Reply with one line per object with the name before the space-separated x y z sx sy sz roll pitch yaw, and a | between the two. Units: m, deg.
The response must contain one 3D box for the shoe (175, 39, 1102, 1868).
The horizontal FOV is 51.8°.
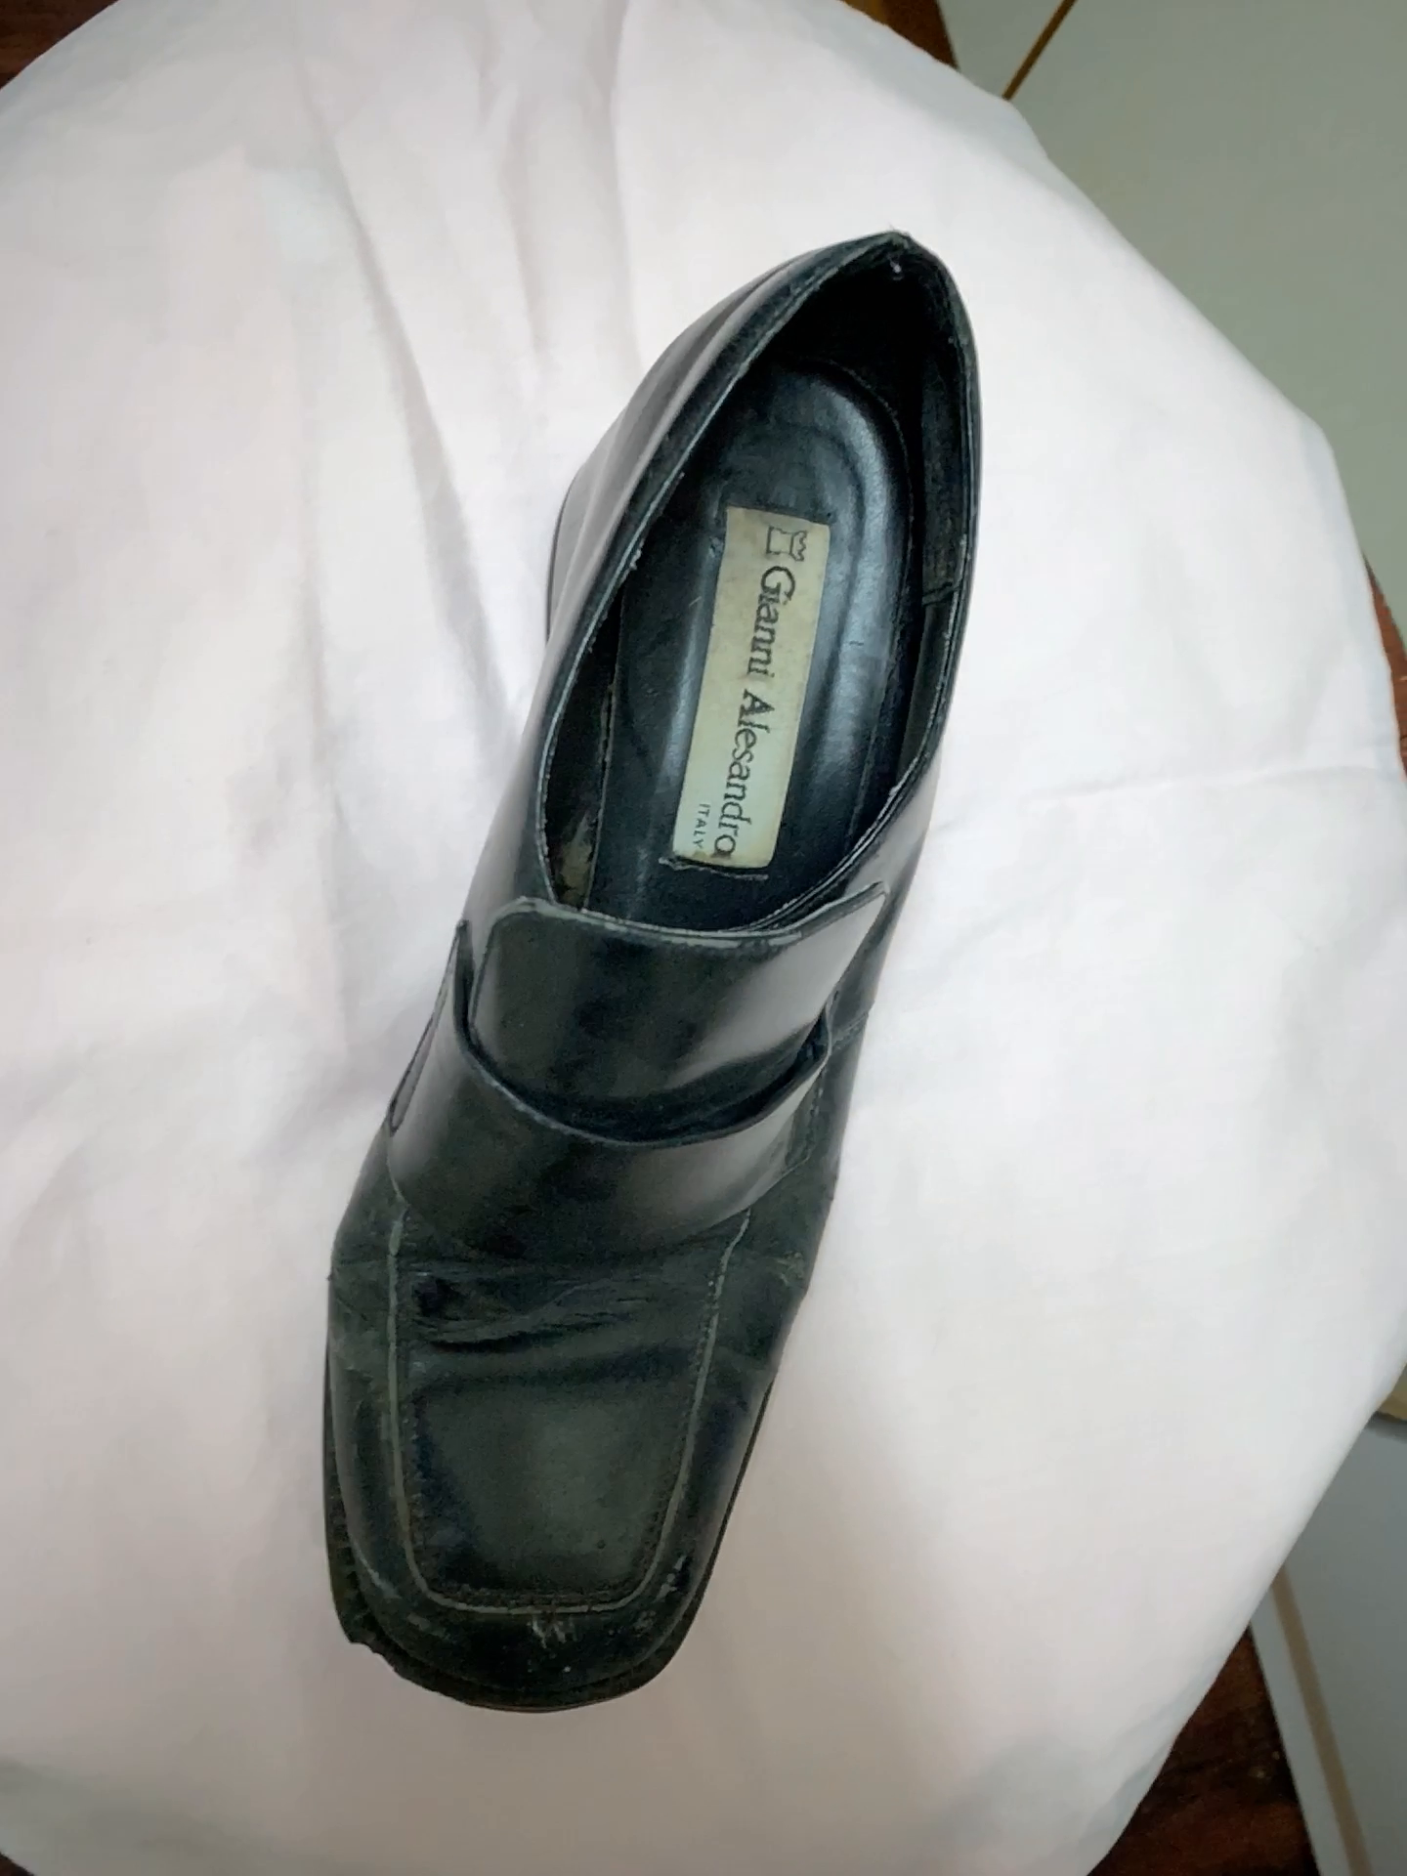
shoe | -0.010 0.001 0.244 0.090 0.092 0.240 12 80 -13
